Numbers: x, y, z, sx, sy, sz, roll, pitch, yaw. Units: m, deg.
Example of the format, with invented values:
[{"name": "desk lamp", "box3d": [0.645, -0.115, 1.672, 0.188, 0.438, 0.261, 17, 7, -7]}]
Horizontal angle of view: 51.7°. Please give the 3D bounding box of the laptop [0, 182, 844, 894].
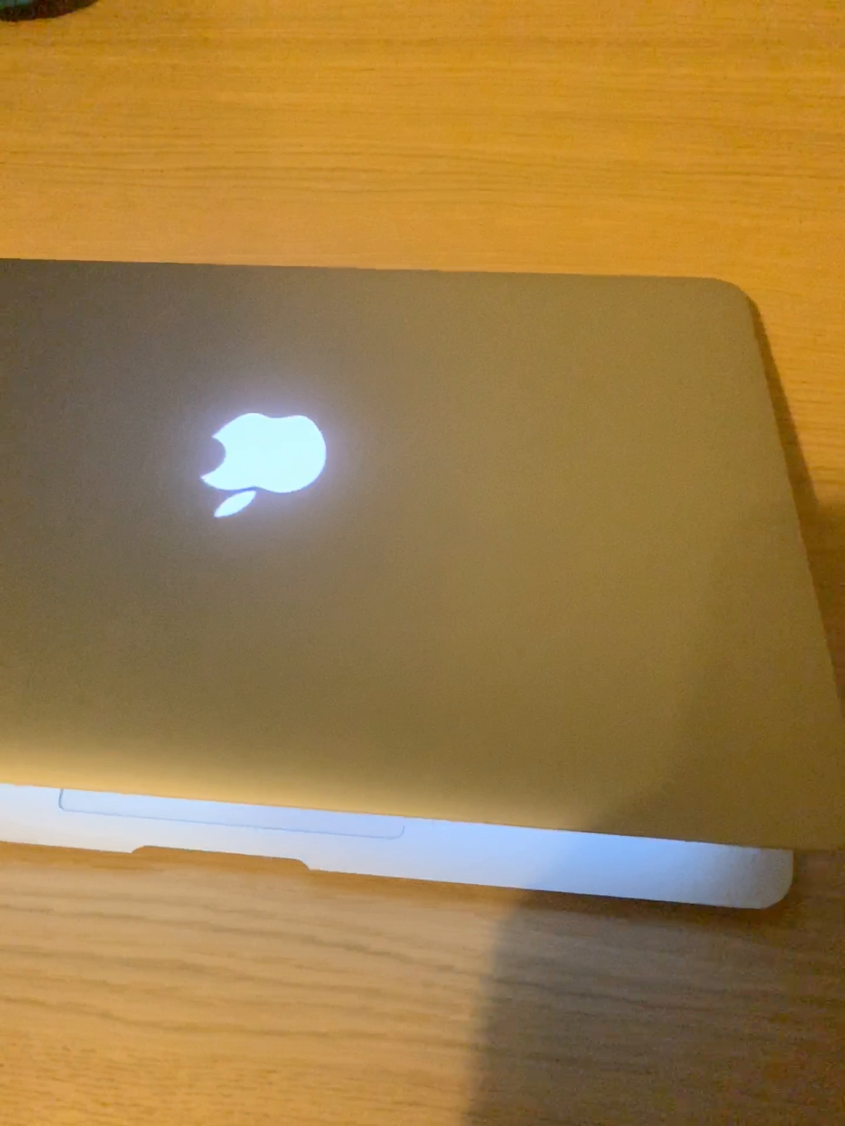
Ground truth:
[{"name": "laptop", "box3d": [-0.049, -0.027, 0.279, 0.320, 0.048, 0.218, 3, 62, 6]}]
